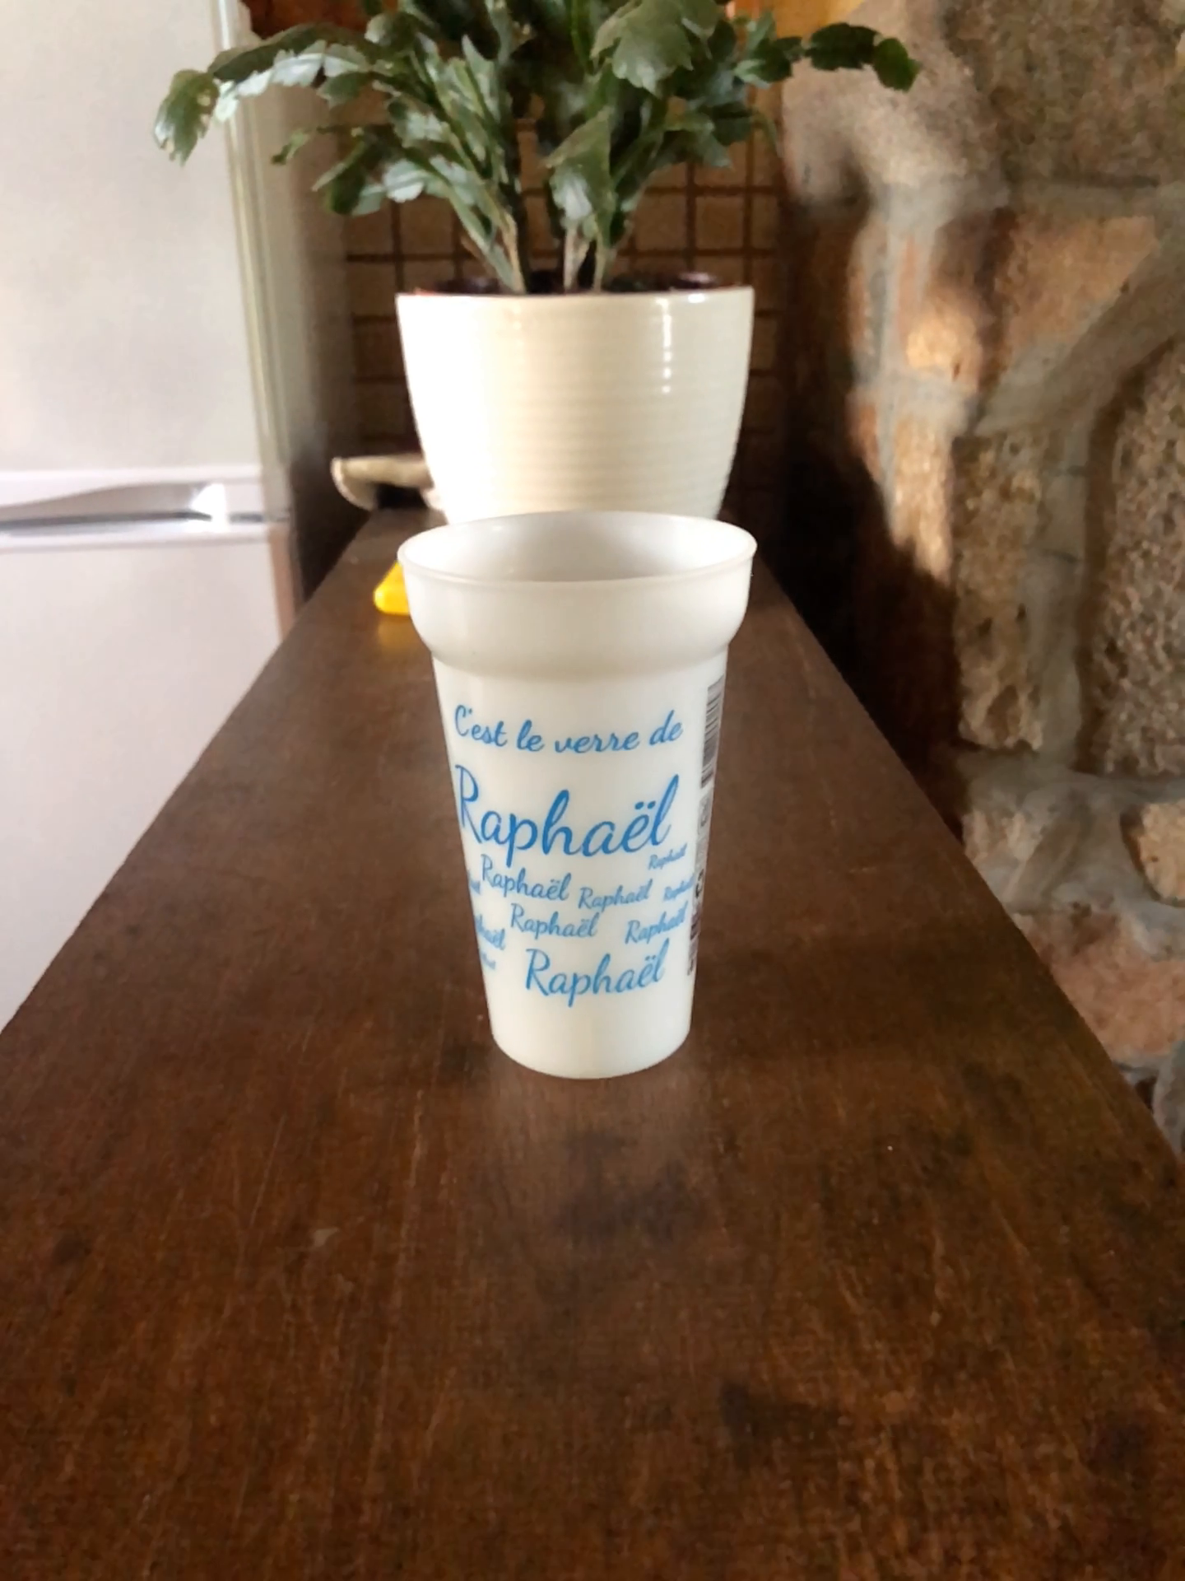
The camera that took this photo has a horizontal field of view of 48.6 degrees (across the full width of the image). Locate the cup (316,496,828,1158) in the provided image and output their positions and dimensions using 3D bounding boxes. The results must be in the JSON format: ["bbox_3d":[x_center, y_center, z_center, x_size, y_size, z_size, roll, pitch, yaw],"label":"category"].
[{"bbox_3d":[-0.001,0.001,0.304,0.080,0.119,0.080,-1,21,0],"label":"cup"}]
